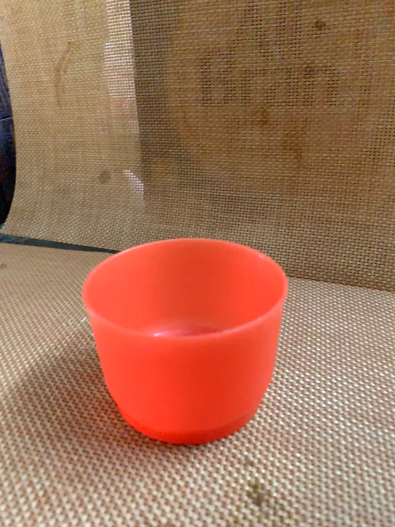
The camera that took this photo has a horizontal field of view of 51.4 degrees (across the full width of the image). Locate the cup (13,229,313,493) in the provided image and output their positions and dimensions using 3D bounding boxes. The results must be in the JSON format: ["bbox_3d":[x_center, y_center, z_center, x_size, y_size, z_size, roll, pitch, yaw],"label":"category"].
[{"bbox_3d":[-0.004,0.027,0.154,0.081,0.050,0.079,-1,26,1],"label":"cup"}]
